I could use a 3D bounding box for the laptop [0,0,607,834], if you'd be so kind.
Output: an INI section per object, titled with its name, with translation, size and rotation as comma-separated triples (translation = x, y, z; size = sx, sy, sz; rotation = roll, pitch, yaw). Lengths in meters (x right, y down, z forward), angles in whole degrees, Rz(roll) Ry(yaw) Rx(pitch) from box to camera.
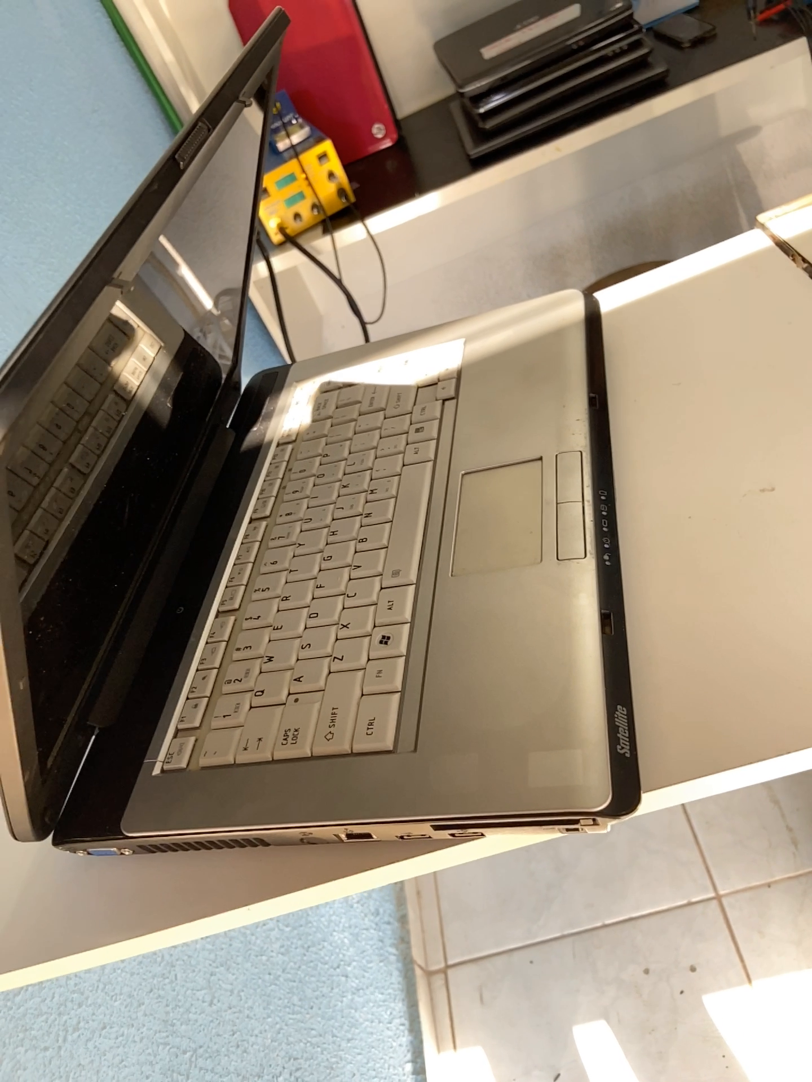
[laptop]
translation = -0.057, -0.083, 0.393
size = 0.246, 0.202, 0.353
rotation = -10, 43, 20
